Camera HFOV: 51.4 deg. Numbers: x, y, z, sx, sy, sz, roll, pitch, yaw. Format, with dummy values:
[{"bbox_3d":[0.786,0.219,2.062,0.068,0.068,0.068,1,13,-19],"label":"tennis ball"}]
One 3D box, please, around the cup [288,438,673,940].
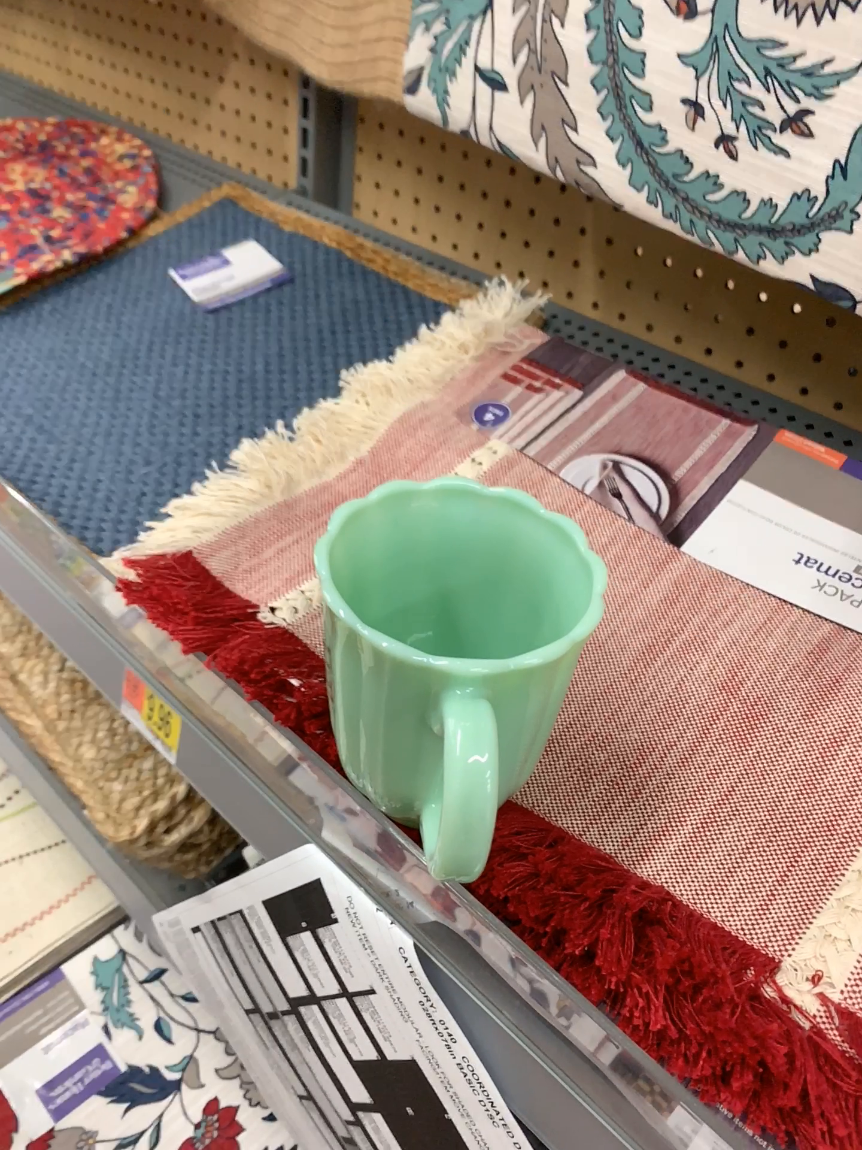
[{"bbox_3d":[0.005,0.031,0.286,0.090,0.090,0.131,3,38,-6],"label":"cup"}]
